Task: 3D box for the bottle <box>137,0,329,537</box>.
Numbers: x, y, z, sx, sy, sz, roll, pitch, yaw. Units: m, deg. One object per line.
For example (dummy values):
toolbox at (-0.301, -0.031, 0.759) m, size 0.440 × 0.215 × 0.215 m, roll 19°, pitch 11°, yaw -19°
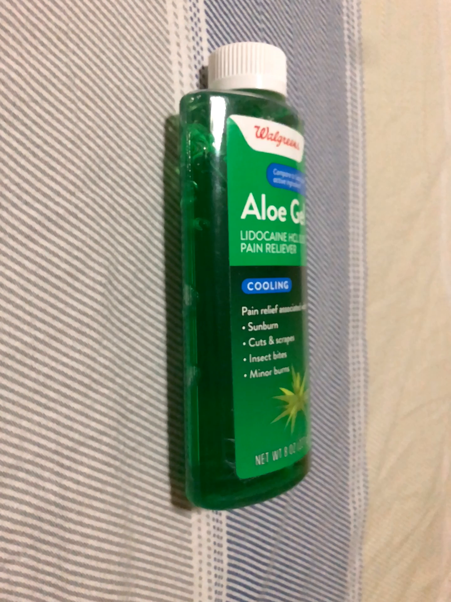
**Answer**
bottle at (0.008, -0.014, 0.207) m, size 0.080 × 0.030 × 0.180 m, roll -4°, pitch 93°, yaw -52°
